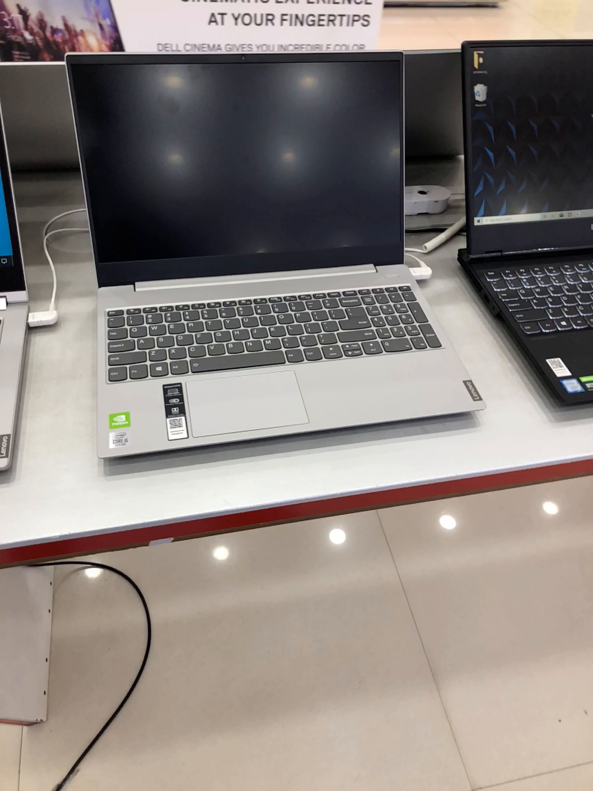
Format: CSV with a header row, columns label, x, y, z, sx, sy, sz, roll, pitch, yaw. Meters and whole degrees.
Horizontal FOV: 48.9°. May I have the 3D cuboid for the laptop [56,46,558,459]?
label,x,y,z,sx,sy,sz,roll,pitch,yaw
laptop,-0.022,-0.162,0.617,0.342,0.196,0.346,-7,46,-11
